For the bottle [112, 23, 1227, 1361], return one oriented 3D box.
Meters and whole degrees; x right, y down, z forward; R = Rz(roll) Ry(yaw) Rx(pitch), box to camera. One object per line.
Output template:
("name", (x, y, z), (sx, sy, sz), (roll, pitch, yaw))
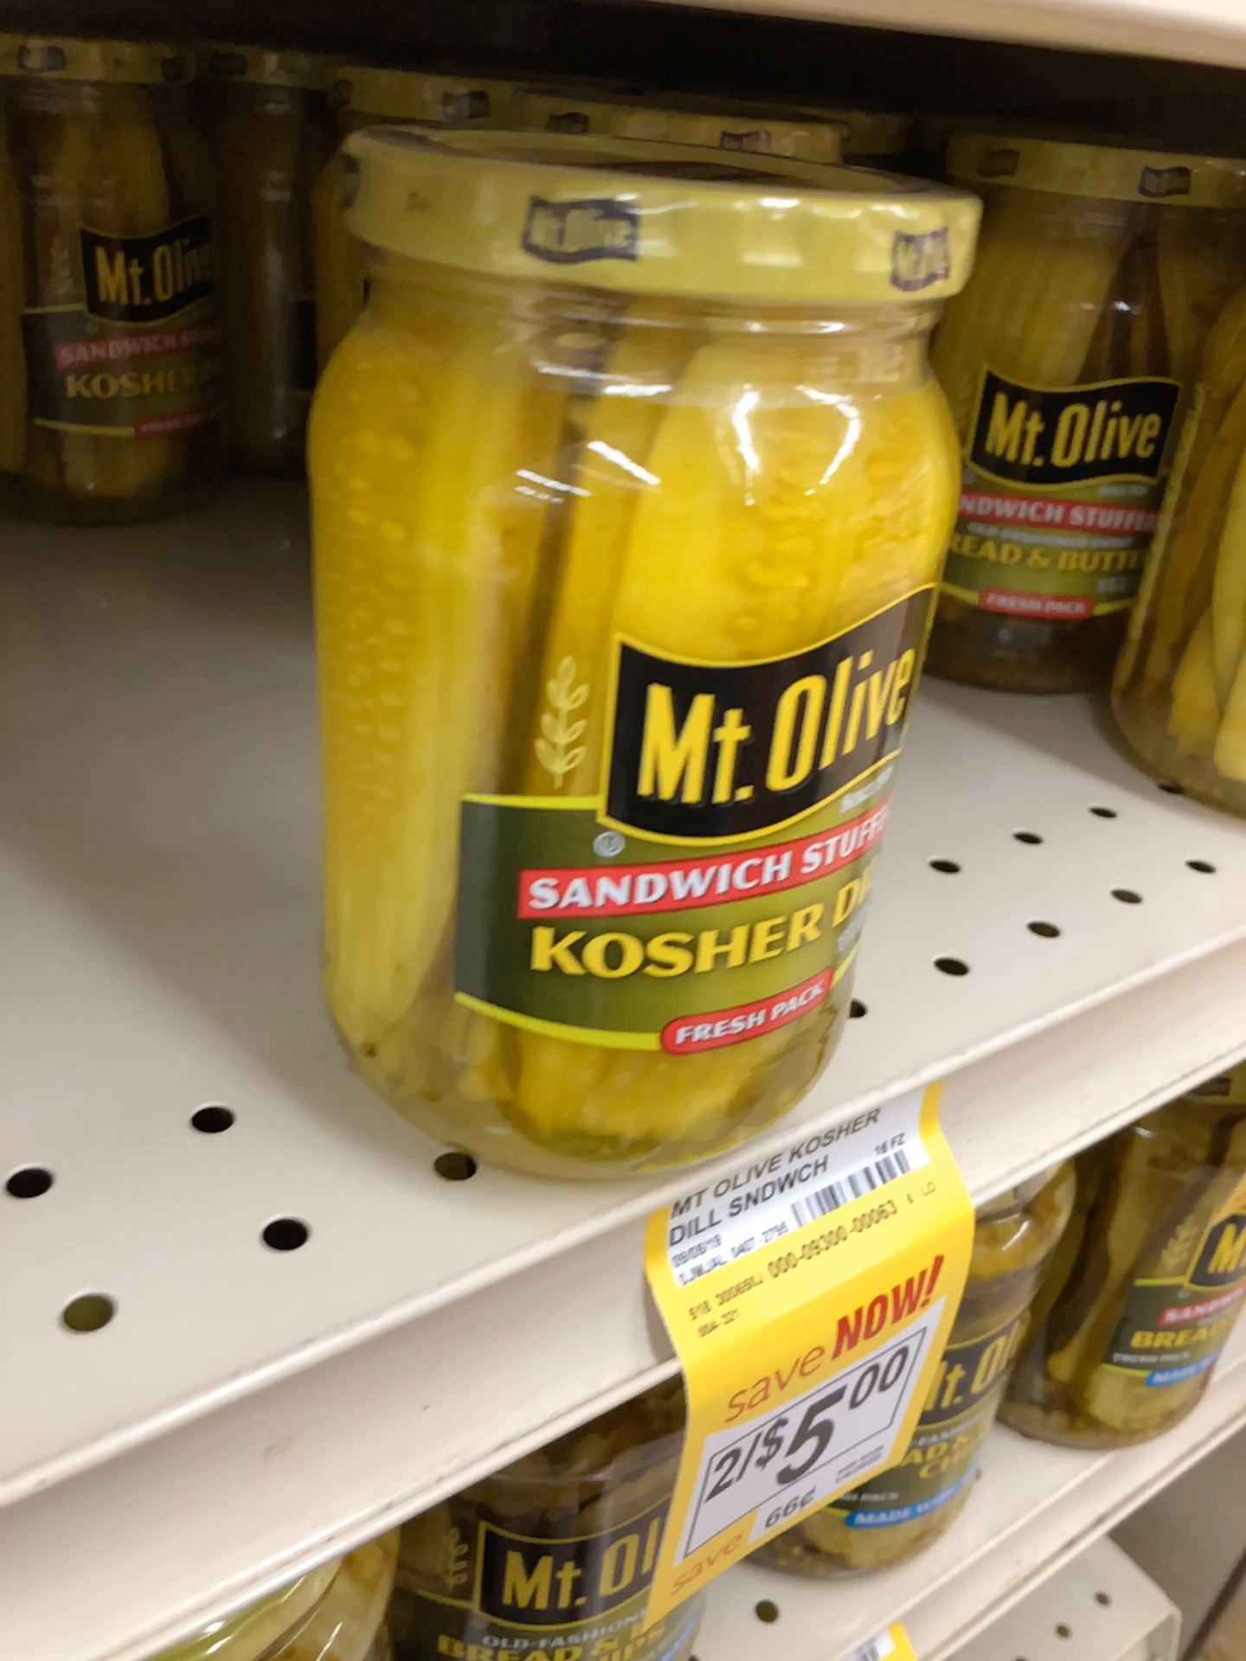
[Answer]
("bottle", (-0.005, -0.022, 0.181), (0.090, 0.130, 0.080), (-13, 36, -31))
